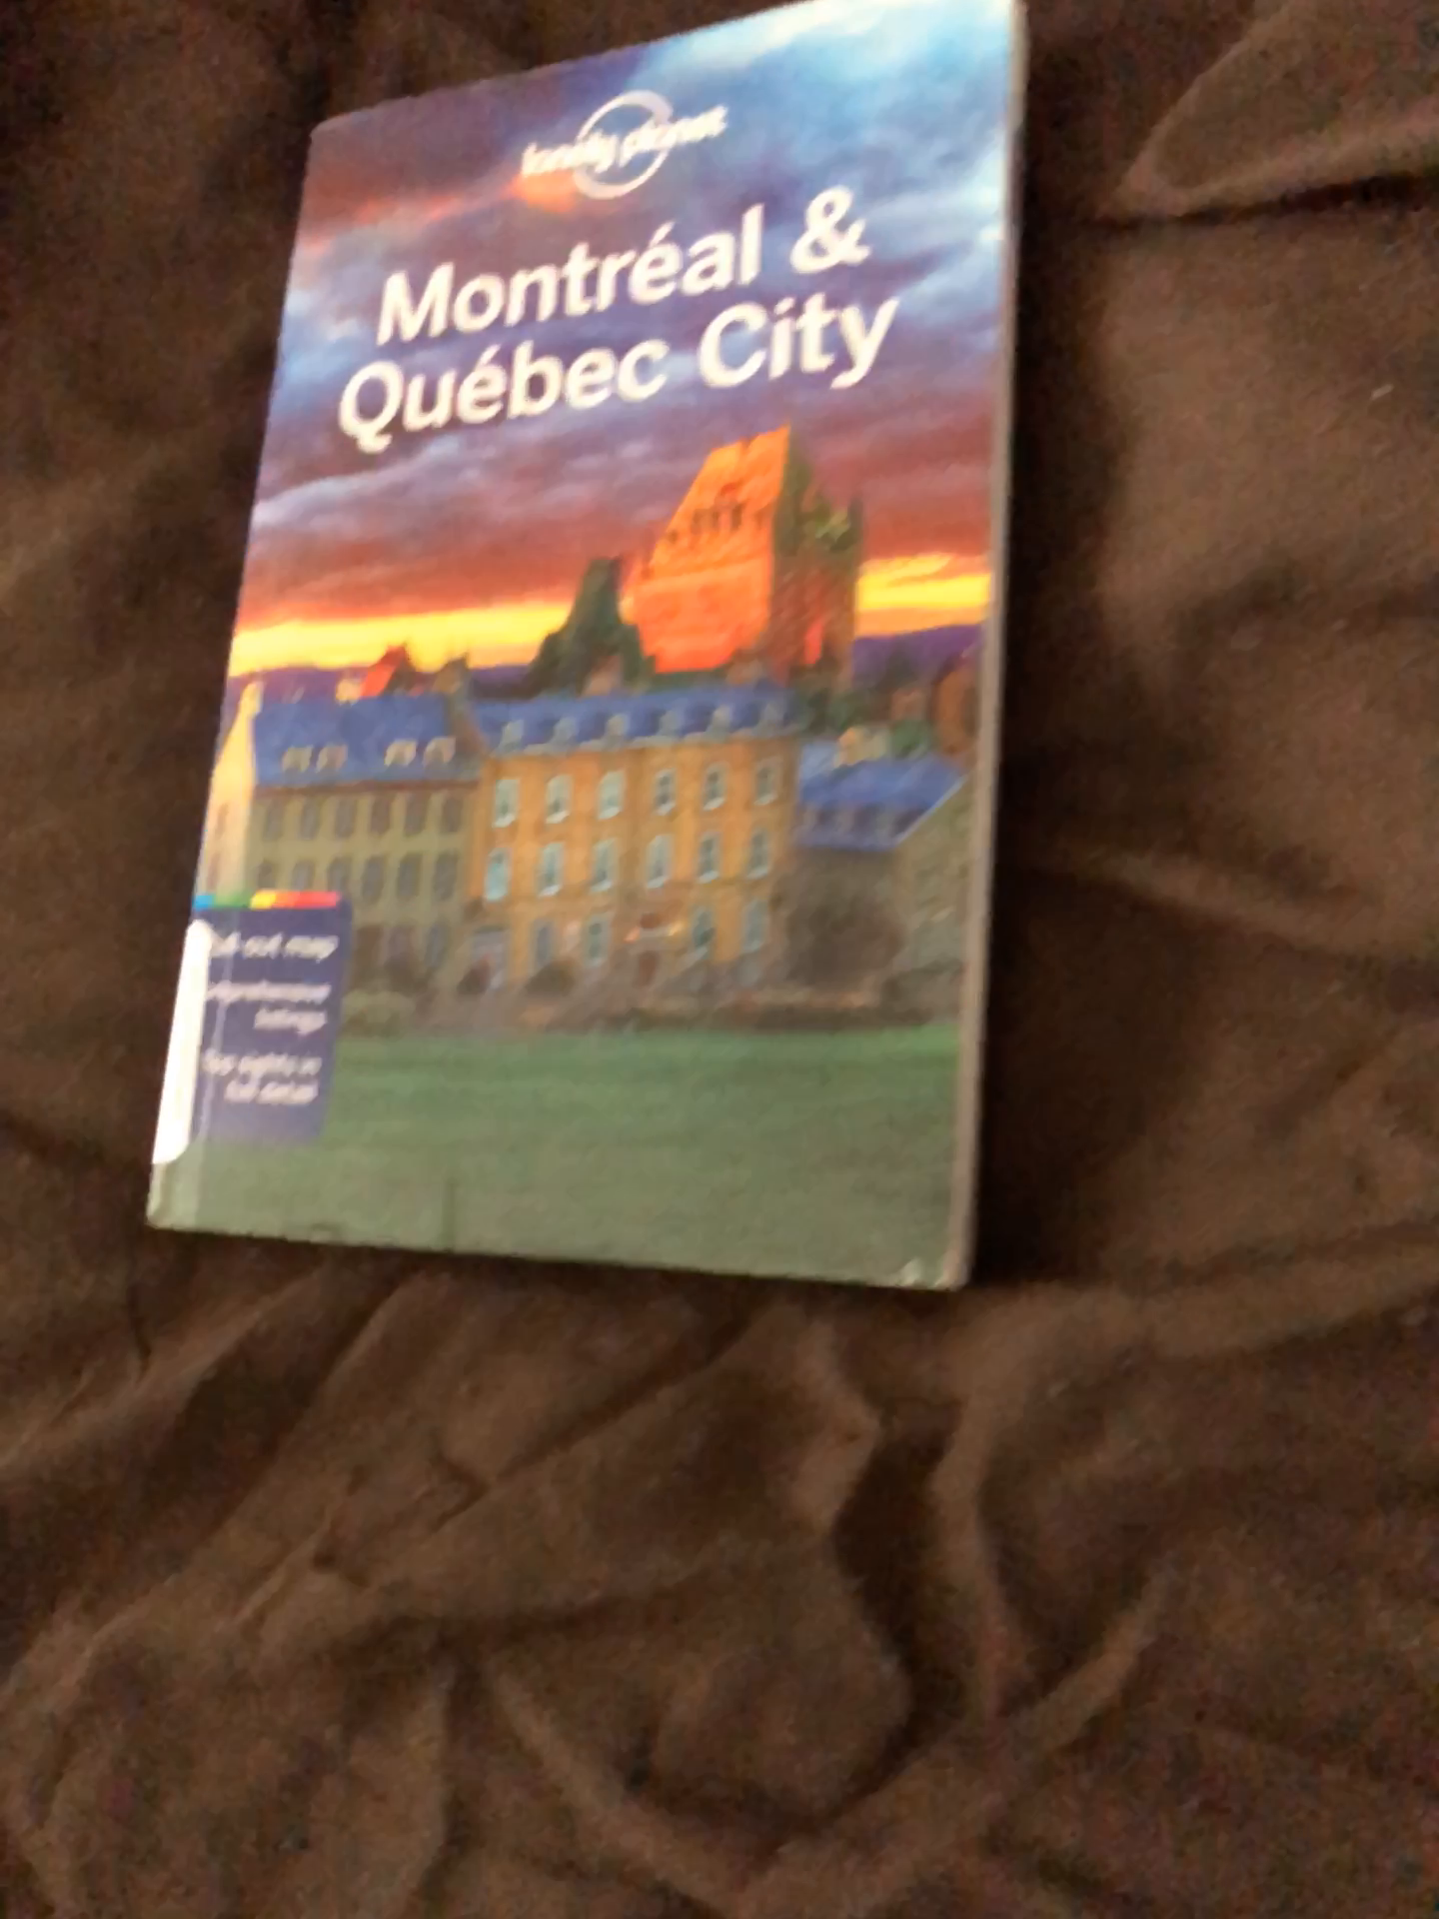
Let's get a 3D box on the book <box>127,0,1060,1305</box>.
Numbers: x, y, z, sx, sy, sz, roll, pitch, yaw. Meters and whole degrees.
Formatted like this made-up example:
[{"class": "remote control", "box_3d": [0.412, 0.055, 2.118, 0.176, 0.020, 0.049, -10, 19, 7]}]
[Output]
[{"class": "book", "box_3d": [-0.020, -0.055, 0.262, 0.138, 0.024, 0.205, 0, 78, 25]}]
